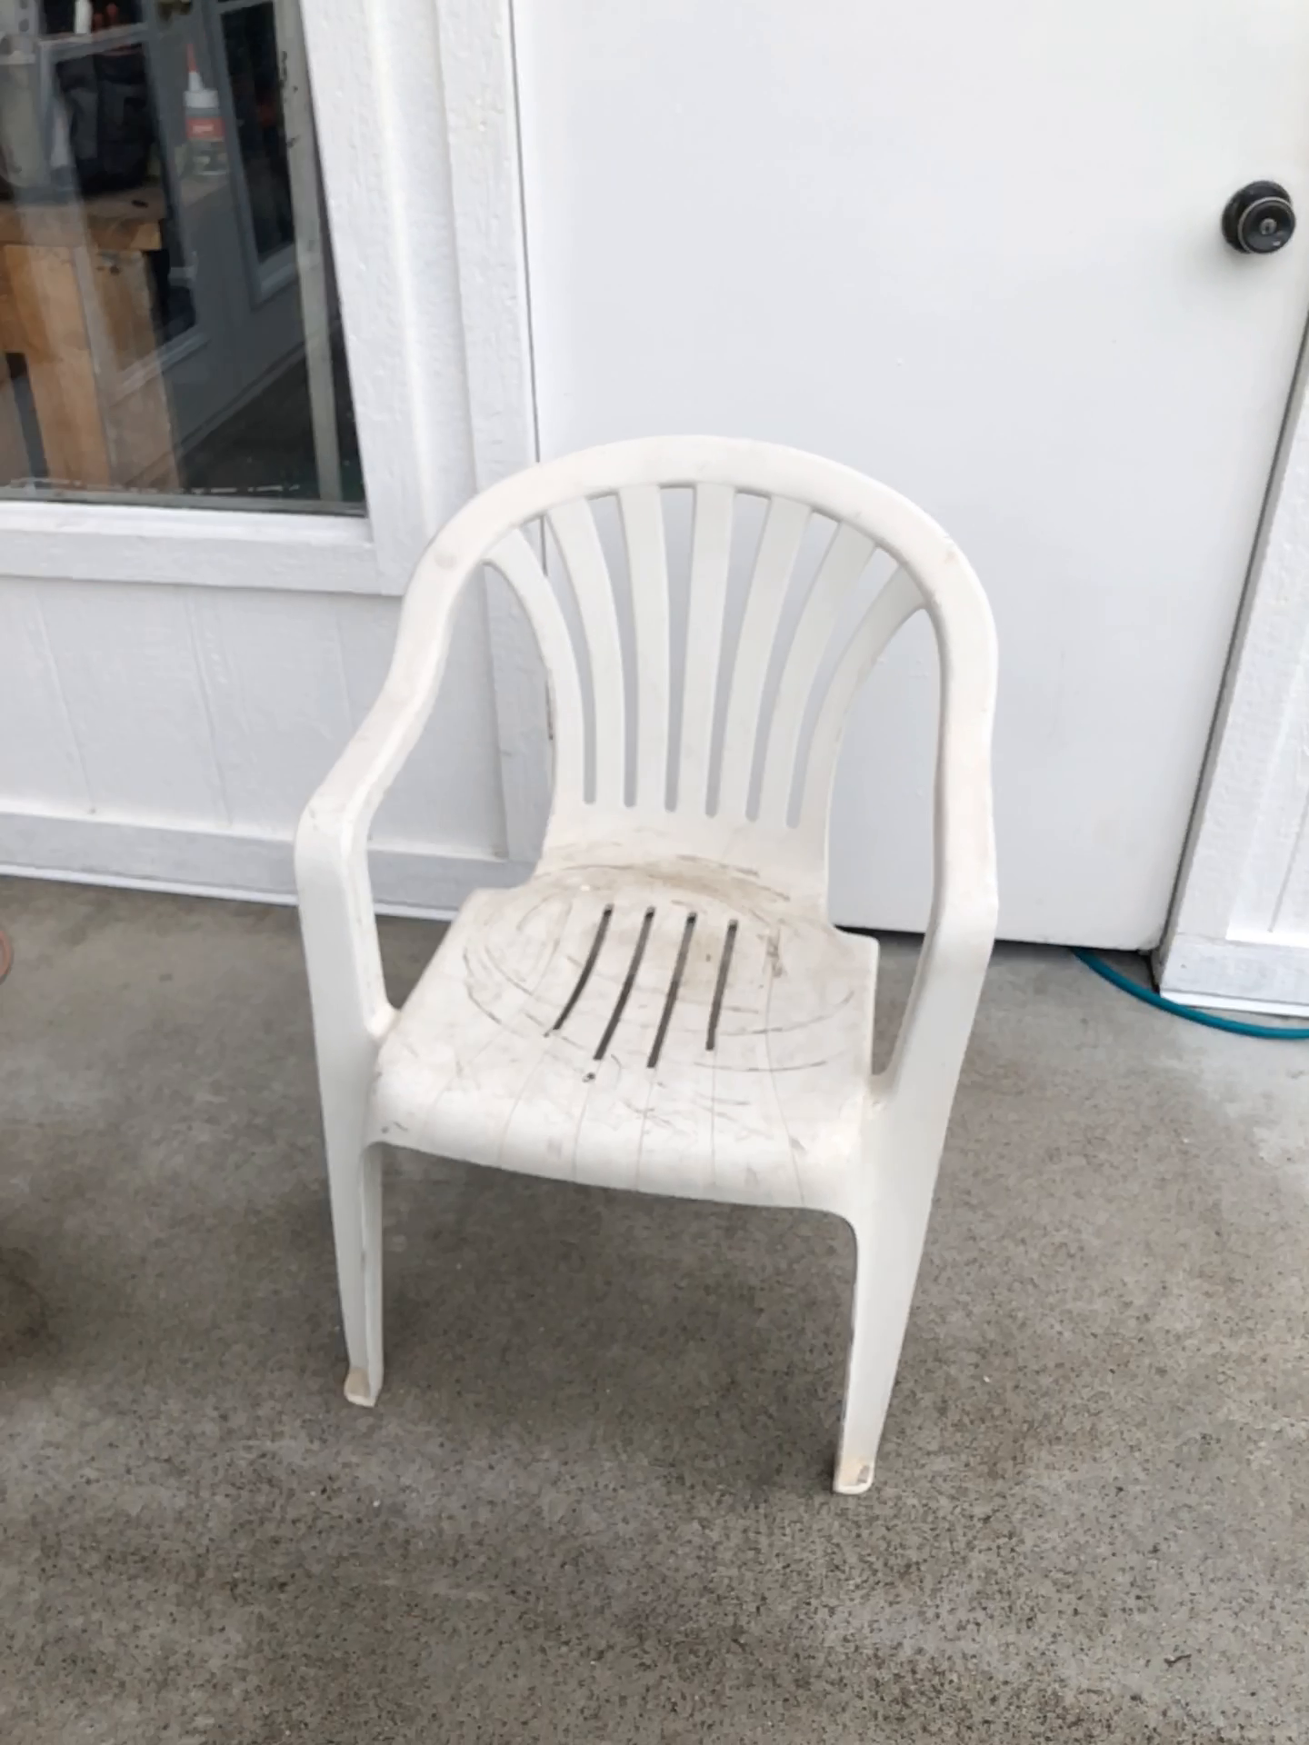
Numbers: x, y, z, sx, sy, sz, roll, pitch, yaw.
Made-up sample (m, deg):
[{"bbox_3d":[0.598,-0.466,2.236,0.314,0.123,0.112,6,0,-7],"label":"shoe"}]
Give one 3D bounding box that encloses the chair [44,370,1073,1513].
[{"bbox_3d":[-0.021,0.045,1.246,0.600,0.777,0.512,5,35,9],"label":"chair"}]
